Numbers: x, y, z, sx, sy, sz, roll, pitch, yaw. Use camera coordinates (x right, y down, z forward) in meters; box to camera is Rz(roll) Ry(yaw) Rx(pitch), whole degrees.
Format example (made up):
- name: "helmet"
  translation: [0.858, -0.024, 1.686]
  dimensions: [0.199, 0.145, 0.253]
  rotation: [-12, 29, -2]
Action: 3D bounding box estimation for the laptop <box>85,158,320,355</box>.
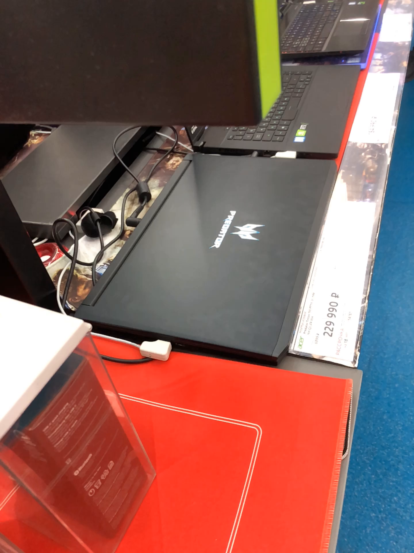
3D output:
- name: "laptop"
  translation: [0.015, -0.059, 0.619]
  dimensions: [0.221, 0.006, 0.355]
  rotation: [8, 47, 19]
